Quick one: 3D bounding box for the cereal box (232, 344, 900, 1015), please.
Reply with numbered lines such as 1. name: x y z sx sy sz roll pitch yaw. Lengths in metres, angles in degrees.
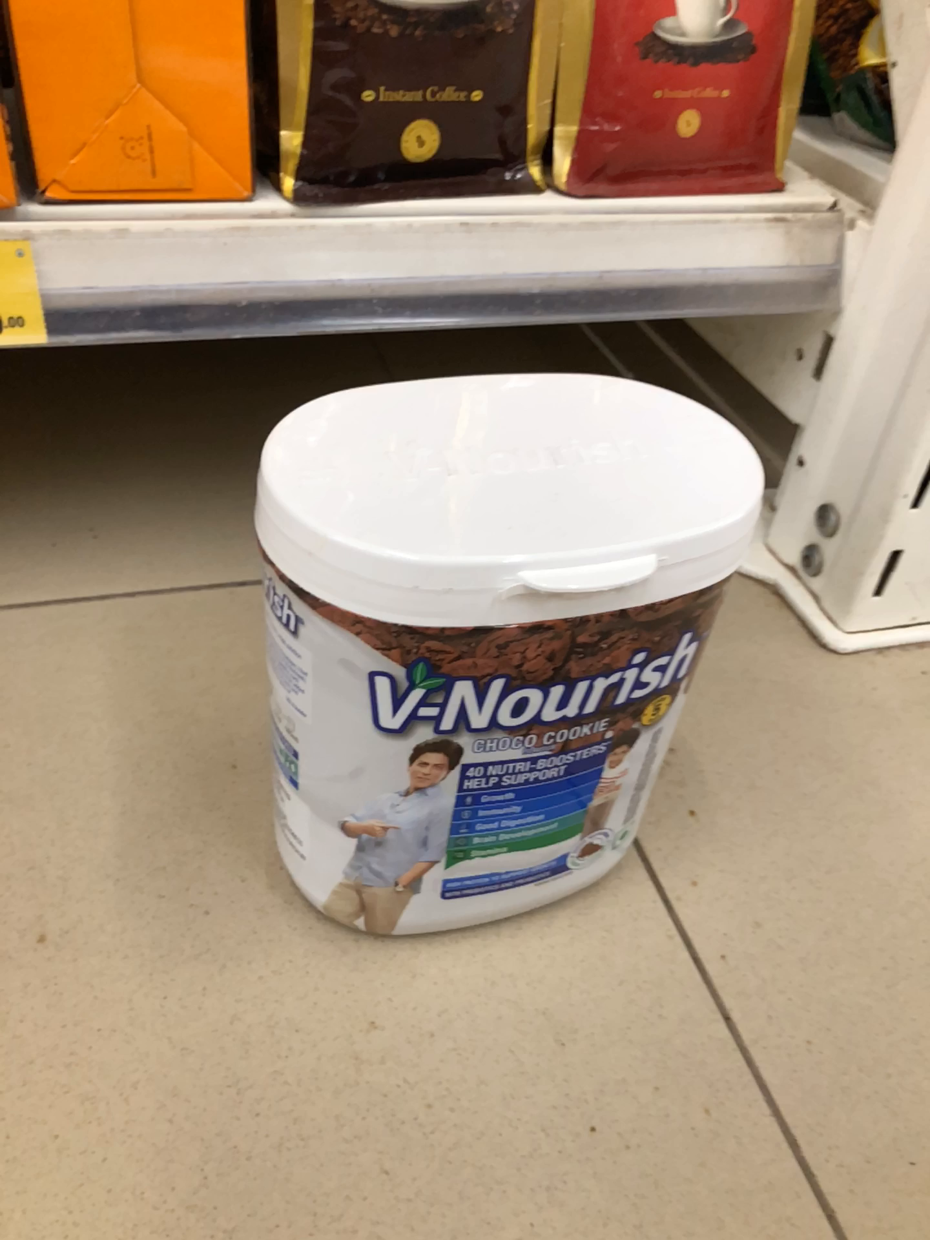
1. cereal box: 0.013 0.014 0.304 0.140 0.149 0.100 -8 41 -18
